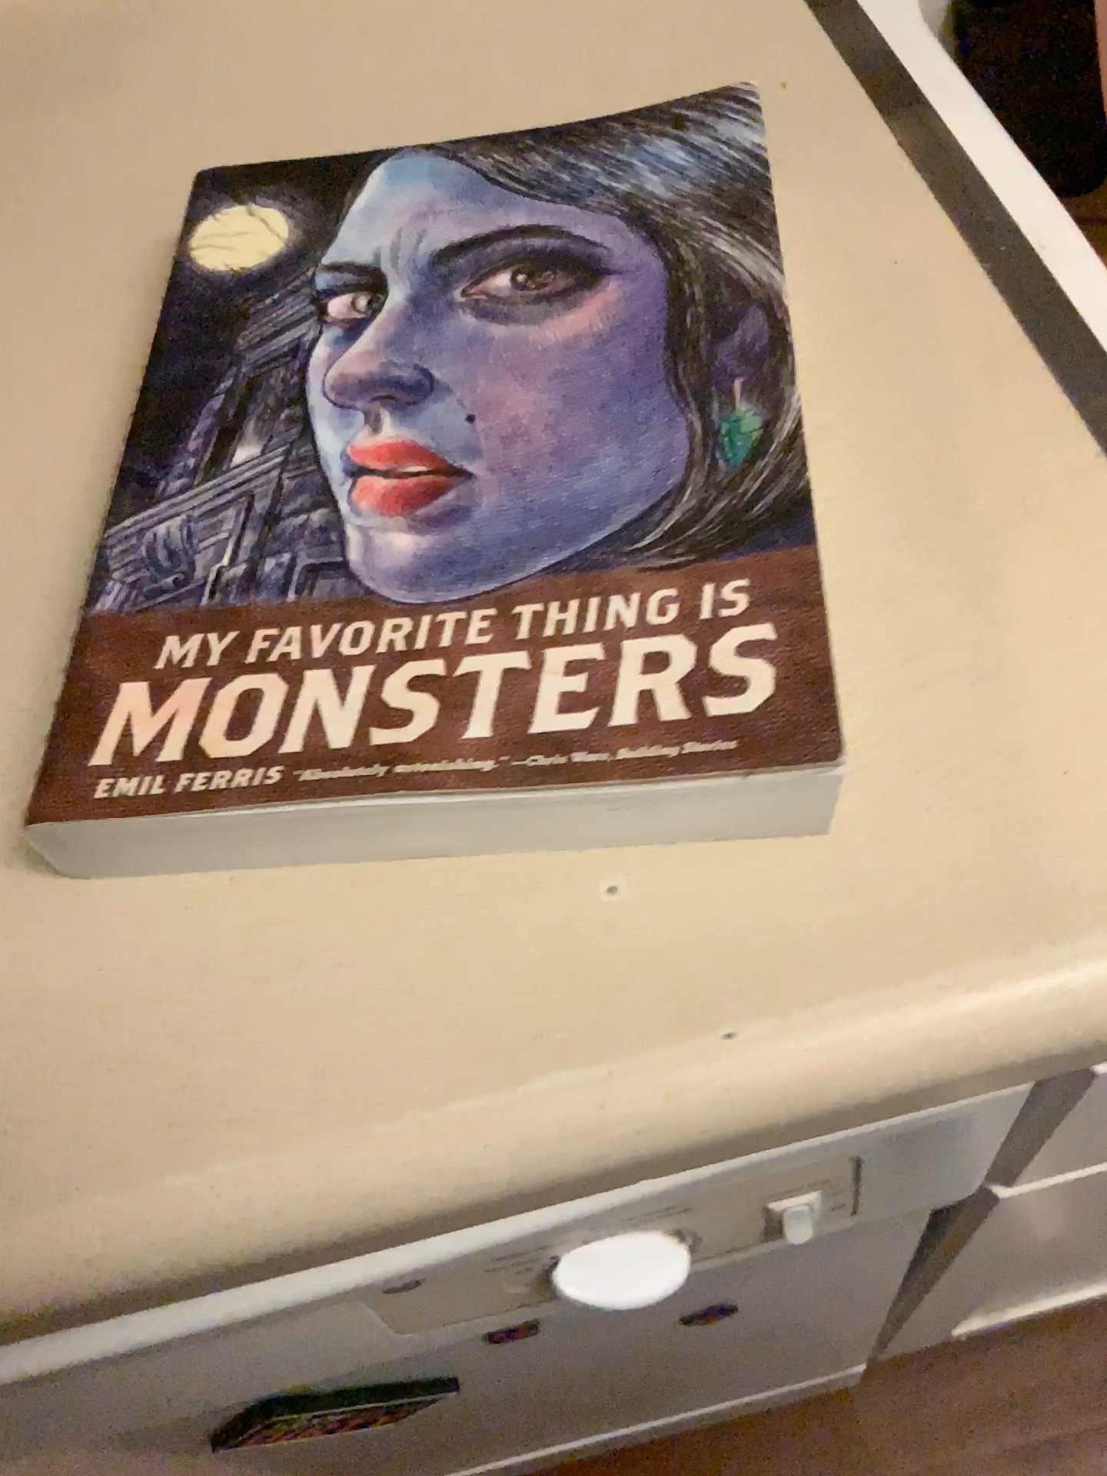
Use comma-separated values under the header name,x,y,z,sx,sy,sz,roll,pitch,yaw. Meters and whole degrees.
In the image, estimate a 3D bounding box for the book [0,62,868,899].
name,x,y,z,sx,sy,sz,roll,pitch,yaw
book,-0.030,-0.091,0.363,0.200,0.040,0.270,-4,57,6
